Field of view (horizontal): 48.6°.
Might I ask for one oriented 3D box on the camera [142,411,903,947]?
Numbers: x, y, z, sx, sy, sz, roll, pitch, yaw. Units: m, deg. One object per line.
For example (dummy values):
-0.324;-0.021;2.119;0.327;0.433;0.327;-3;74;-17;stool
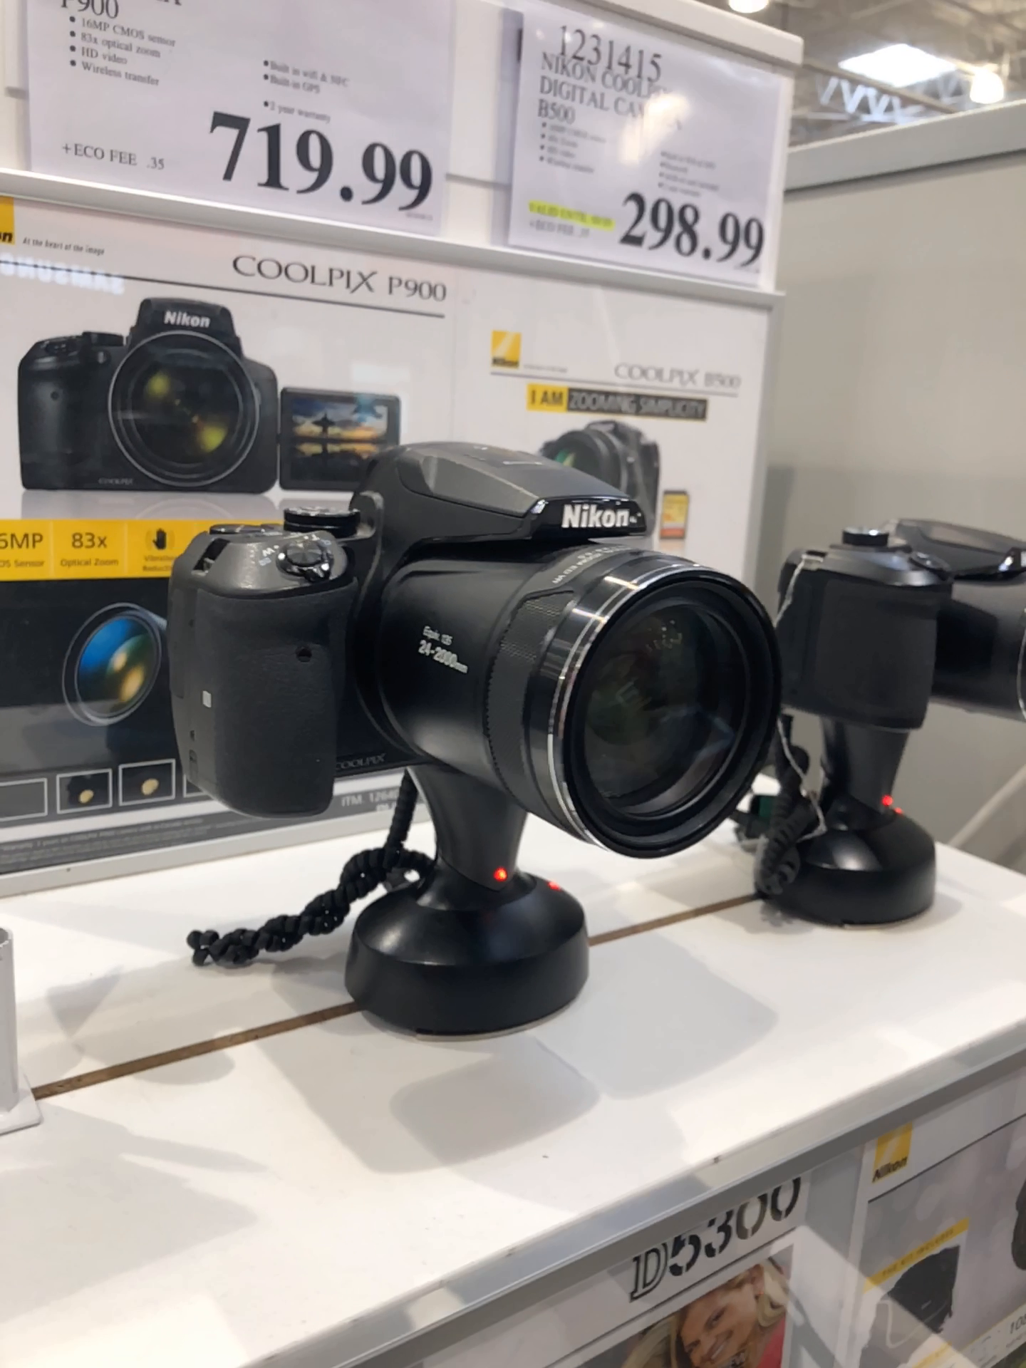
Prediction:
-0.005;-0.018;0.314;0.150;0.100;0.140;-6;16;-34;camera
